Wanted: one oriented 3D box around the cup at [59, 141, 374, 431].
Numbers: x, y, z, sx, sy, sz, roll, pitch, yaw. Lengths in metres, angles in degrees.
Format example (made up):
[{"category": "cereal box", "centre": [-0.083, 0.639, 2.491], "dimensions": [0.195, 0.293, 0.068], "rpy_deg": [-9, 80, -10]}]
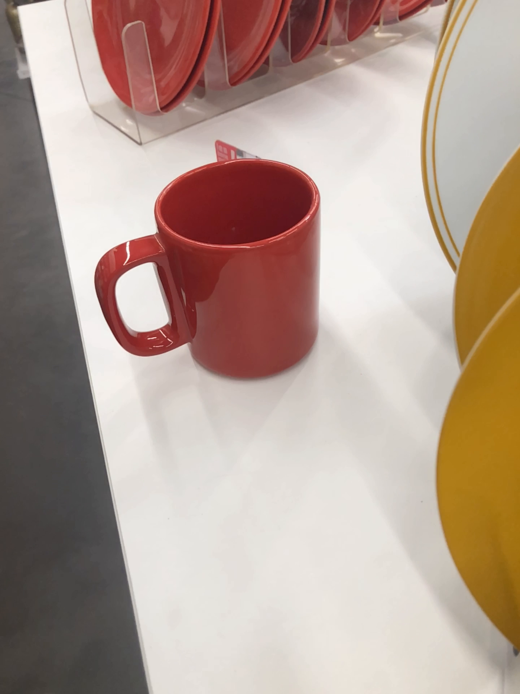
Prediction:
[{"category": "cup", "centre": [-0.021, -0.038, 0.310], "dimensions": [0.130, 0.082, 0.091], "rpy_deg": [-22, 47, -16]}]
